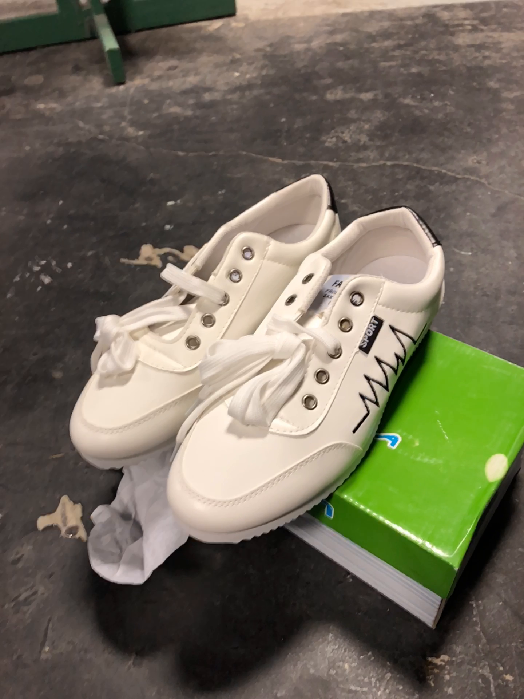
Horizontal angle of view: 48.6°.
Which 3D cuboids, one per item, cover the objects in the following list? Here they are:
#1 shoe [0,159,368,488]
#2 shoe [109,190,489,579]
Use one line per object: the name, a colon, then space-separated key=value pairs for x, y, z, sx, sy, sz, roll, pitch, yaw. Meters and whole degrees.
shoe: x=-0.036 y=-0.040 z=0.434 sx=0.090 sy=0.079 sz=0.281 roll=23 pitch=51 yaw=34
shoe: x=0.045 y=-0.001 z=0.390 sx=0.090 sy=0.079 sz=0.281 roll=23 pitch=51 yaw=34
